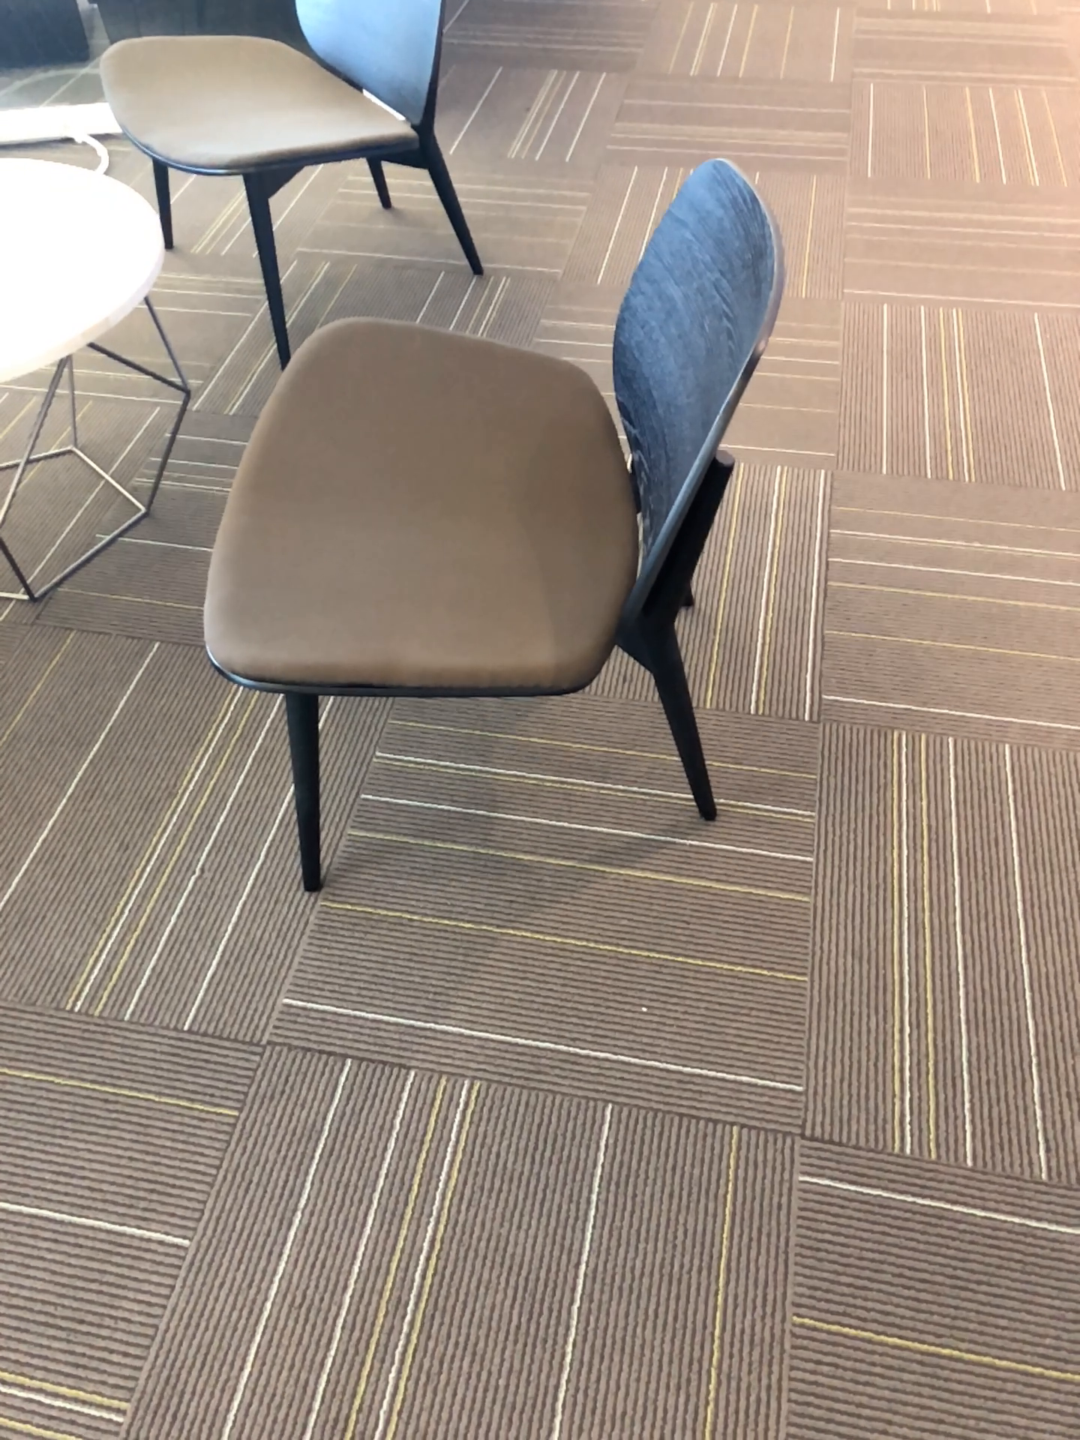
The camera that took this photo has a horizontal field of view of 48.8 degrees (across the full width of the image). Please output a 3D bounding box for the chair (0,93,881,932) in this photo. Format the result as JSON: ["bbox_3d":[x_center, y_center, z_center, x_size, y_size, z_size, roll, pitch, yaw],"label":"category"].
[{"bbox_3d":[-0.089,-0.242,1.473,0.740,0.737,0.673,-2,47,0],"label":"chair"}]
